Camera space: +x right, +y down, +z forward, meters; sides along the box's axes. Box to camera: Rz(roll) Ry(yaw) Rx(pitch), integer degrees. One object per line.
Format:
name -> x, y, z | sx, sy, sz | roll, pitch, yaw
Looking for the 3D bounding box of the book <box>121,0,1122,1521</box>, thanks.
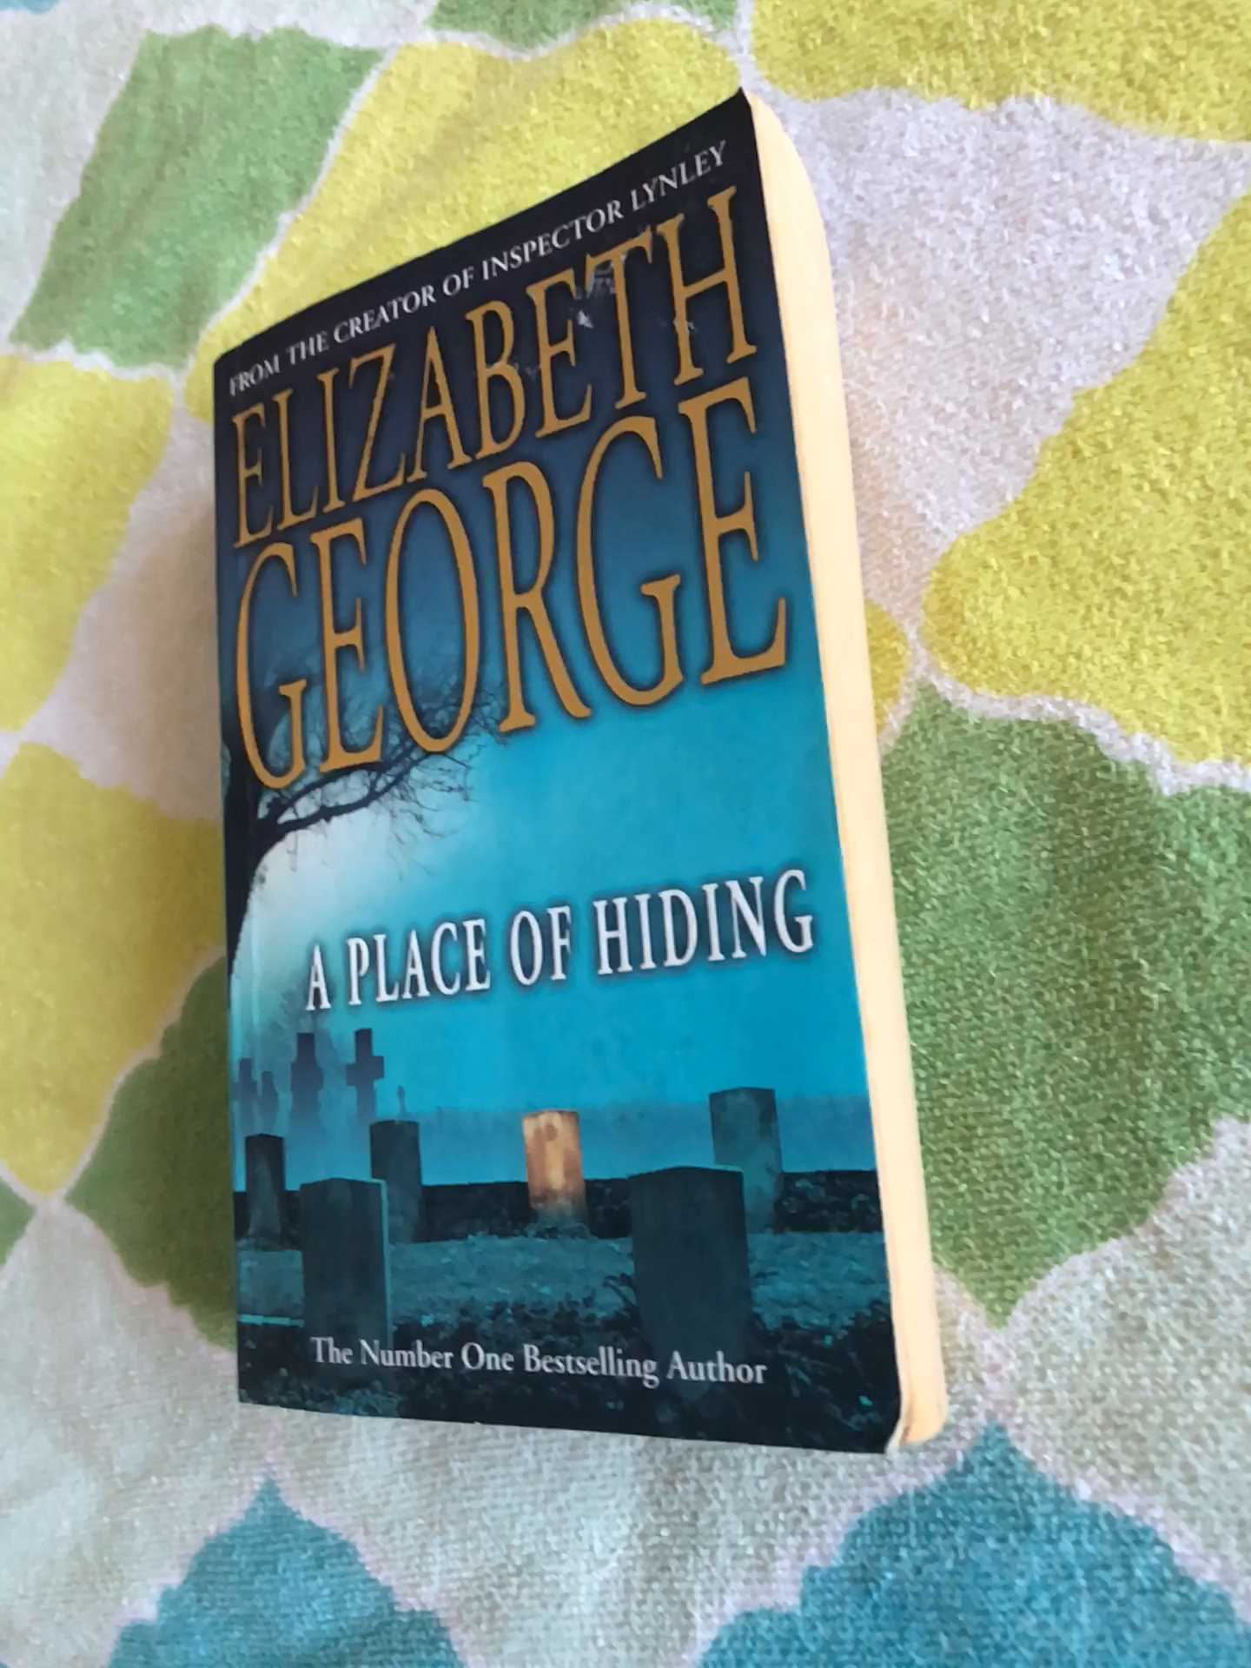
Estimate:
book -> -0.004, -0.008, 0.239 | 0.130, 0.070, 0.210 | -10, 82, 24
